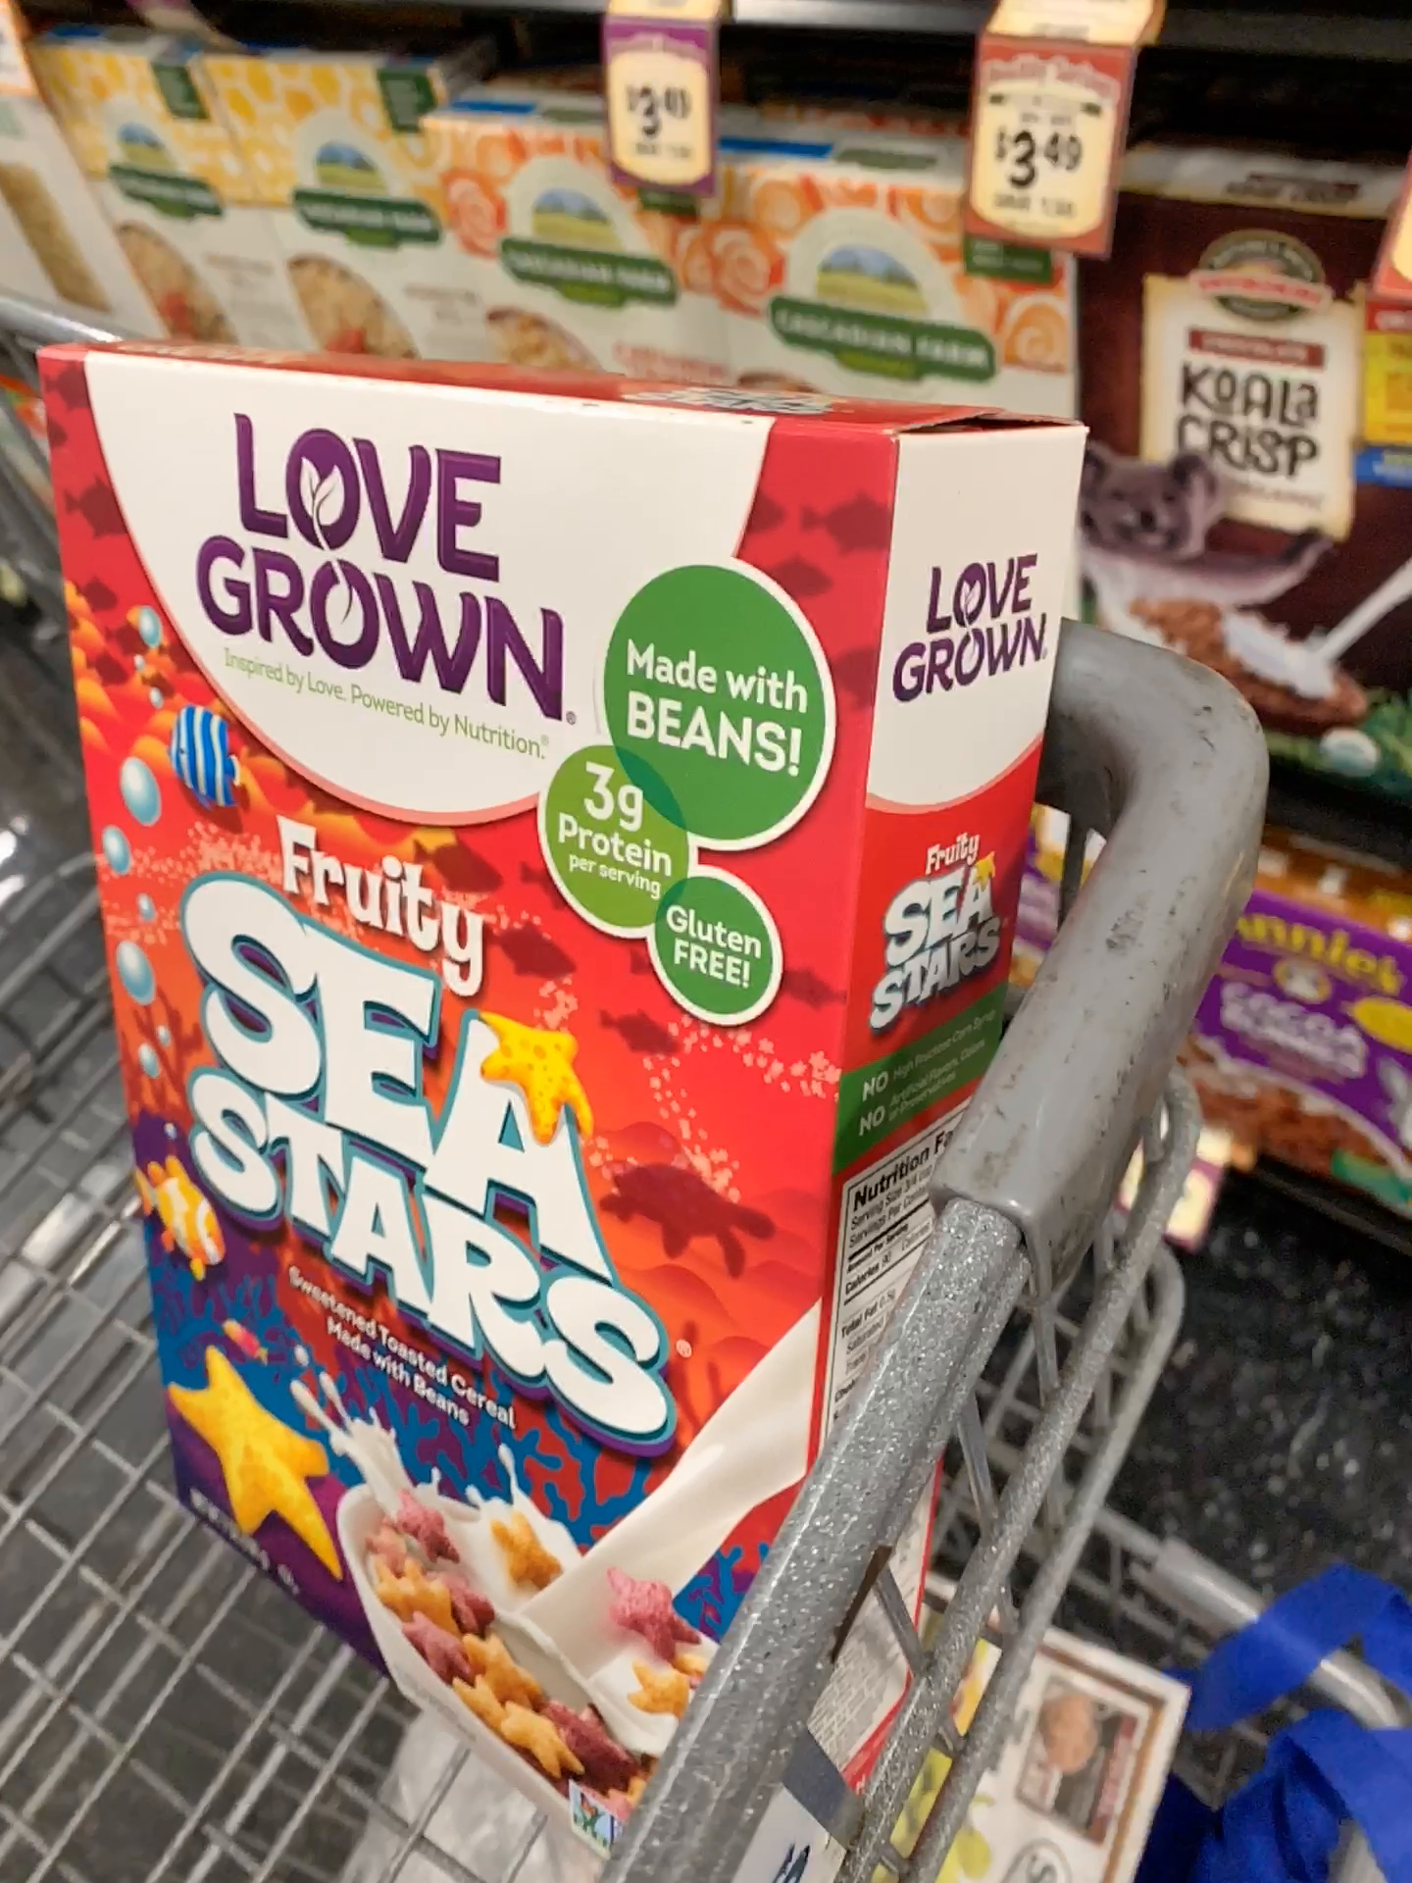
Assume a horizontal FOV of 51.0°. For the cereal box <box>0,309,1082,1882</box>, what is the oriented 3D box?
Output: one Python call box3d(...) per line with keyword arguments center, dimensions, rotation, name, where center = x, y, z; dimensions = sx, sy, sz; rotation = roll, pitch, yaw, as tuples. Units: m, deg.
box3d(center=(-0.045, 0.029, 0.259), dimensions=(0.181, 0.249, 0.050), rotation=(20, 30, 34), name="cereal box")
